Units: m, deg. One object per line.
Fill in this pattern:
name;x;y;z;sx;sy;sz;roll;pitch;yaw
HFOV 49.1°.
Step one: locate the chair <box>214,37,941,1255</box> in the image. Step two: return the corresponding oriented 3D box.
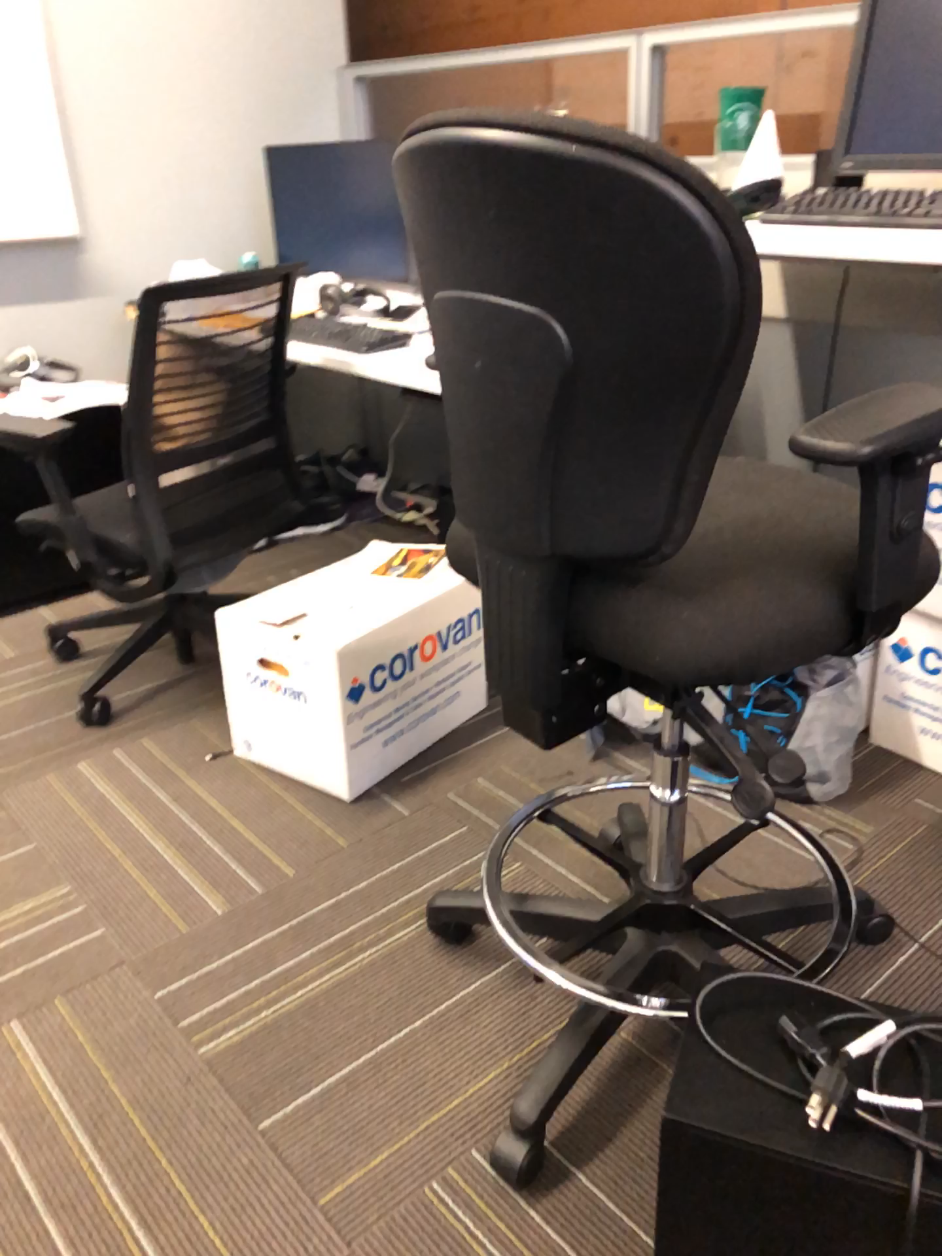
chair;0.247;-0.001;1.210;0.731;1.134;0.642;-18;29;-31
